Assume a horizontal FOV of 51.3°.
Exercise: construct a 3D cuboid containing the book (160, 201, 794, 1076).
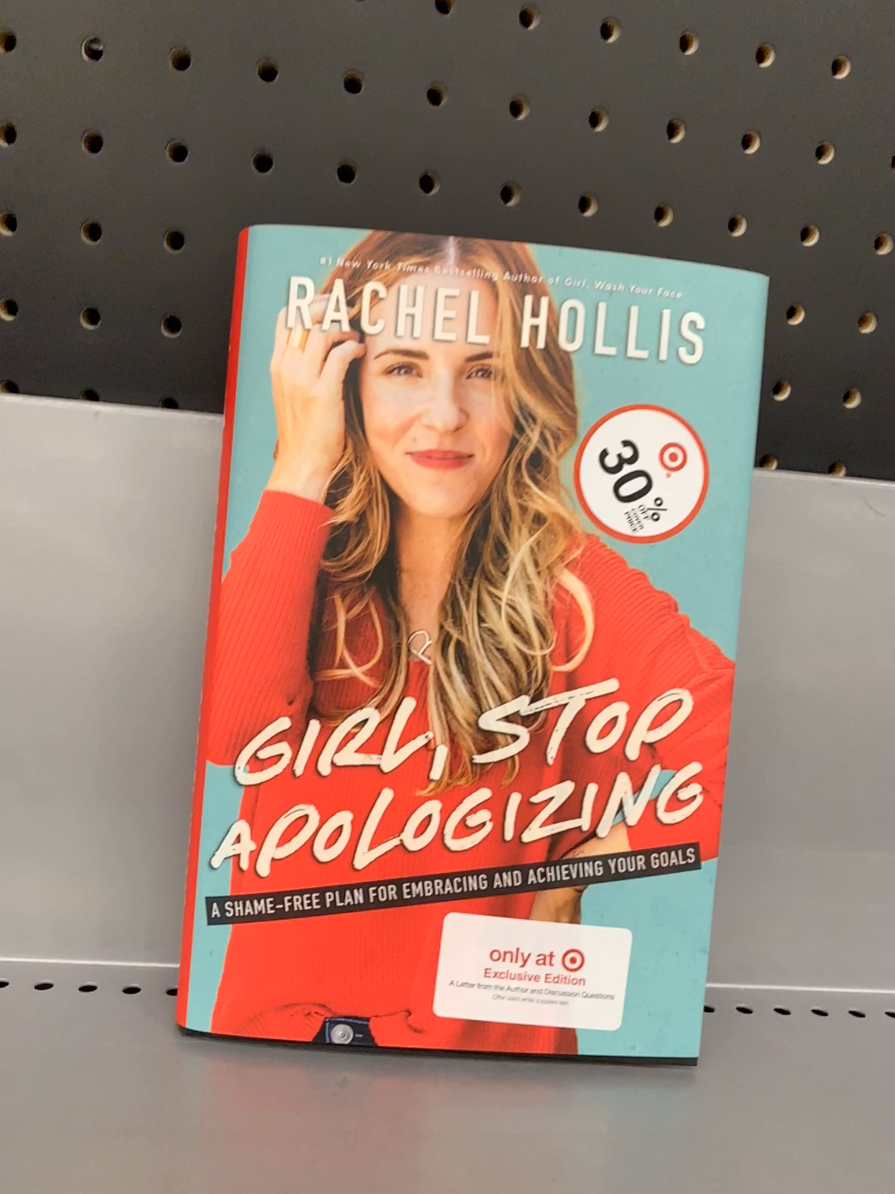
[{"bbox_3d":[0.008,0.012,0.265,0.149,0.220,0.035,5,0,-3],"label":"book"}]
